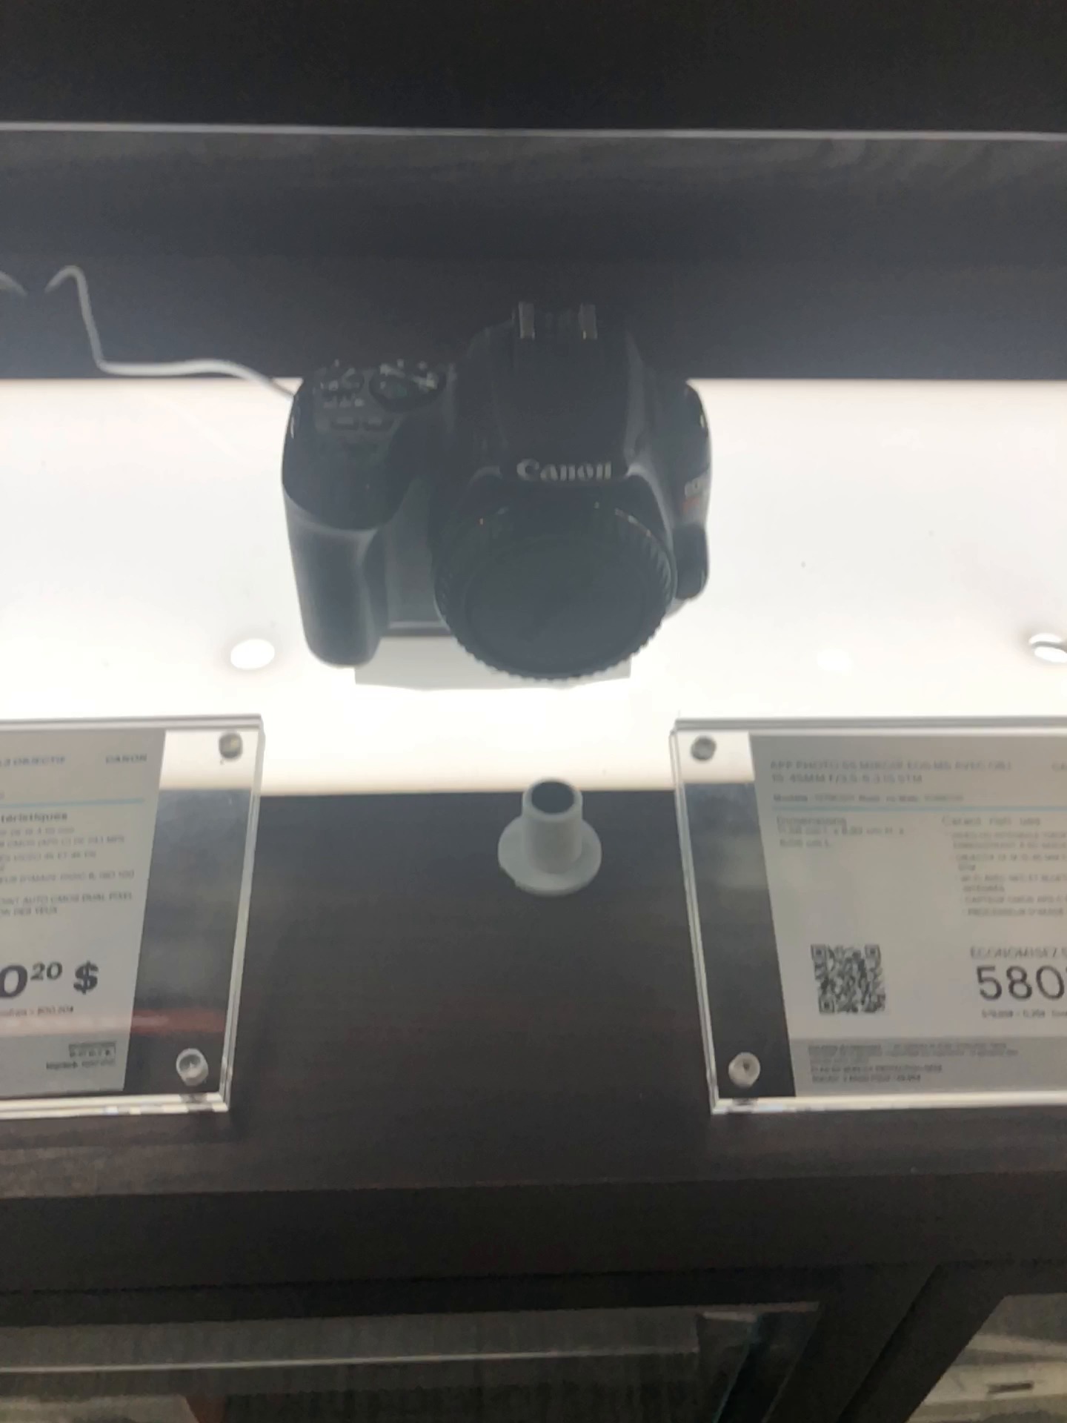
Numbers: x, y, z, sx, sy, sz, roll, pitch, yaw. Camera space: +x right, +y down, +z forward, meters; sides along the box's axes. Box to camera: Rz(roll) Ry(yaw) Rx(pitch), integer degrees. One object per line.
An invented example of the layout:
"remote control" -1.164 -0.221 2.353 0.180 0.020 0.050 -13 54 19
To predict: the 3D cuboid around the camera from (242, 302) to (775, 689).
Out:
"camera" -0.008 -0.060 0.328 0.123 0.071 0.081 0 44 -3
